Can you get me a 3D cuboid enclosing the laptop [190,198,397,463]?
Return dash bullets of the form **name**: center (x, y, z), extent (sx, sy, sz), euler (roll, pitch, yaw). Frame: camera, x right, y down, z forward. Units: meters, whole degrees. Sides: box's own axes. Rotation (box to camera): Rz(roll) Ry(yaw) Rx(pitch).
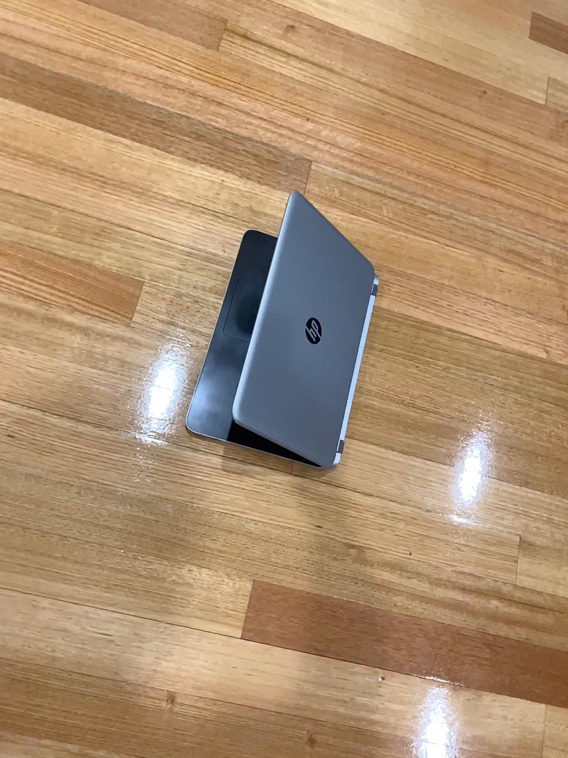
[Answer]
- **laptop**: center (0.018, -0.069, 0.851), extent (0.209, 0.102, 0.333), euler (18, 72, -9)
